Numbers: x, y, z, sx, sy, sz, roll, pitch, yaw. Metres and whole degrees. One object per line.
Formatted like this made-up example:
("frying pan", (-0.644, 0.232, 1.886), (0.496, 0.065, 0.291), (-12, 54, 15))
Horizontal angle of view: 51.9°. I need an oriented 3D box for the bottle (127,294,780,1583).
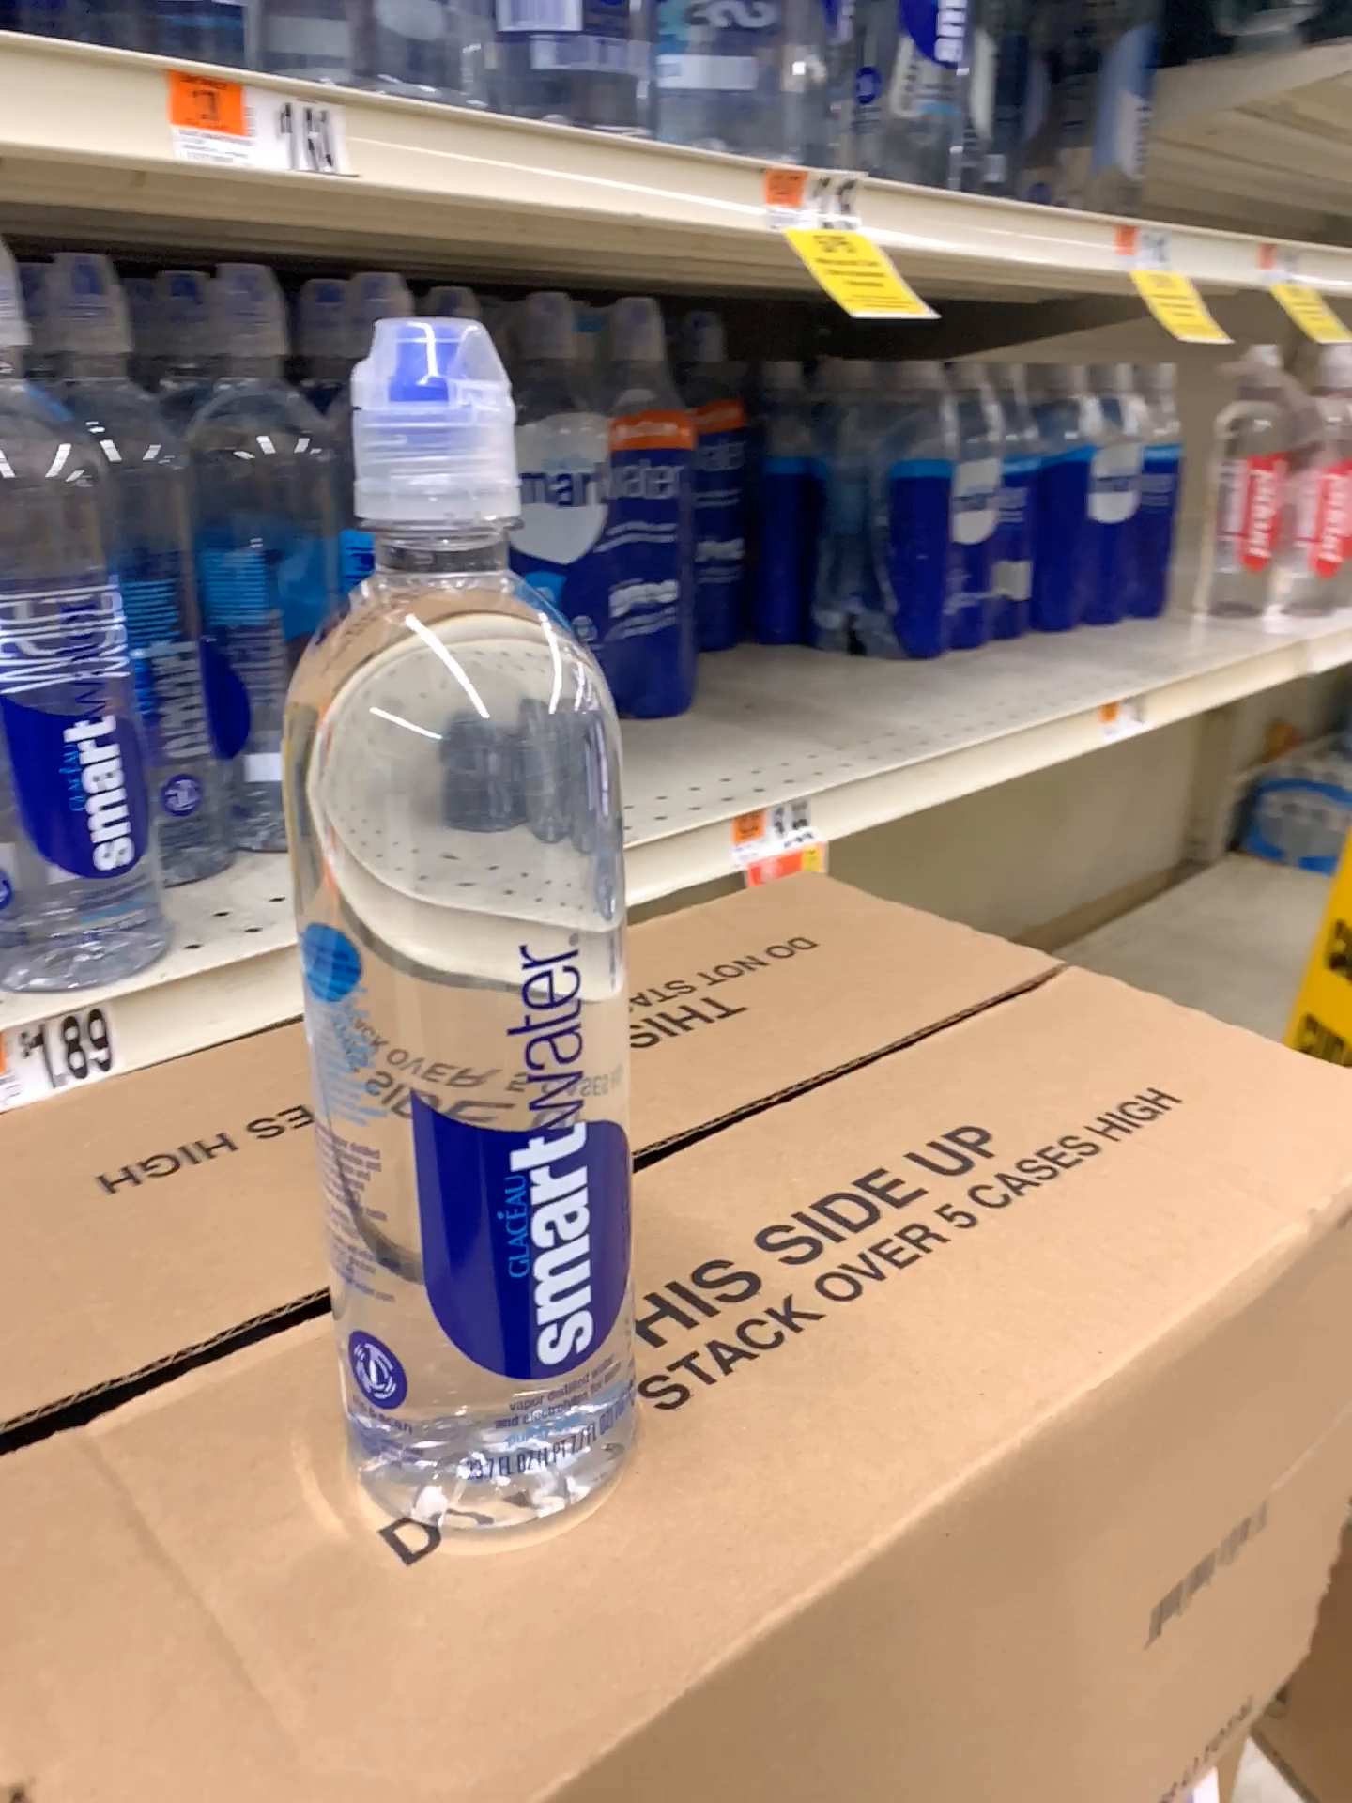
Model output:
("bottle", (-0.046, 0.004, 0.306), (0.090, 0.249, 0.090), (1, 21, 0))
